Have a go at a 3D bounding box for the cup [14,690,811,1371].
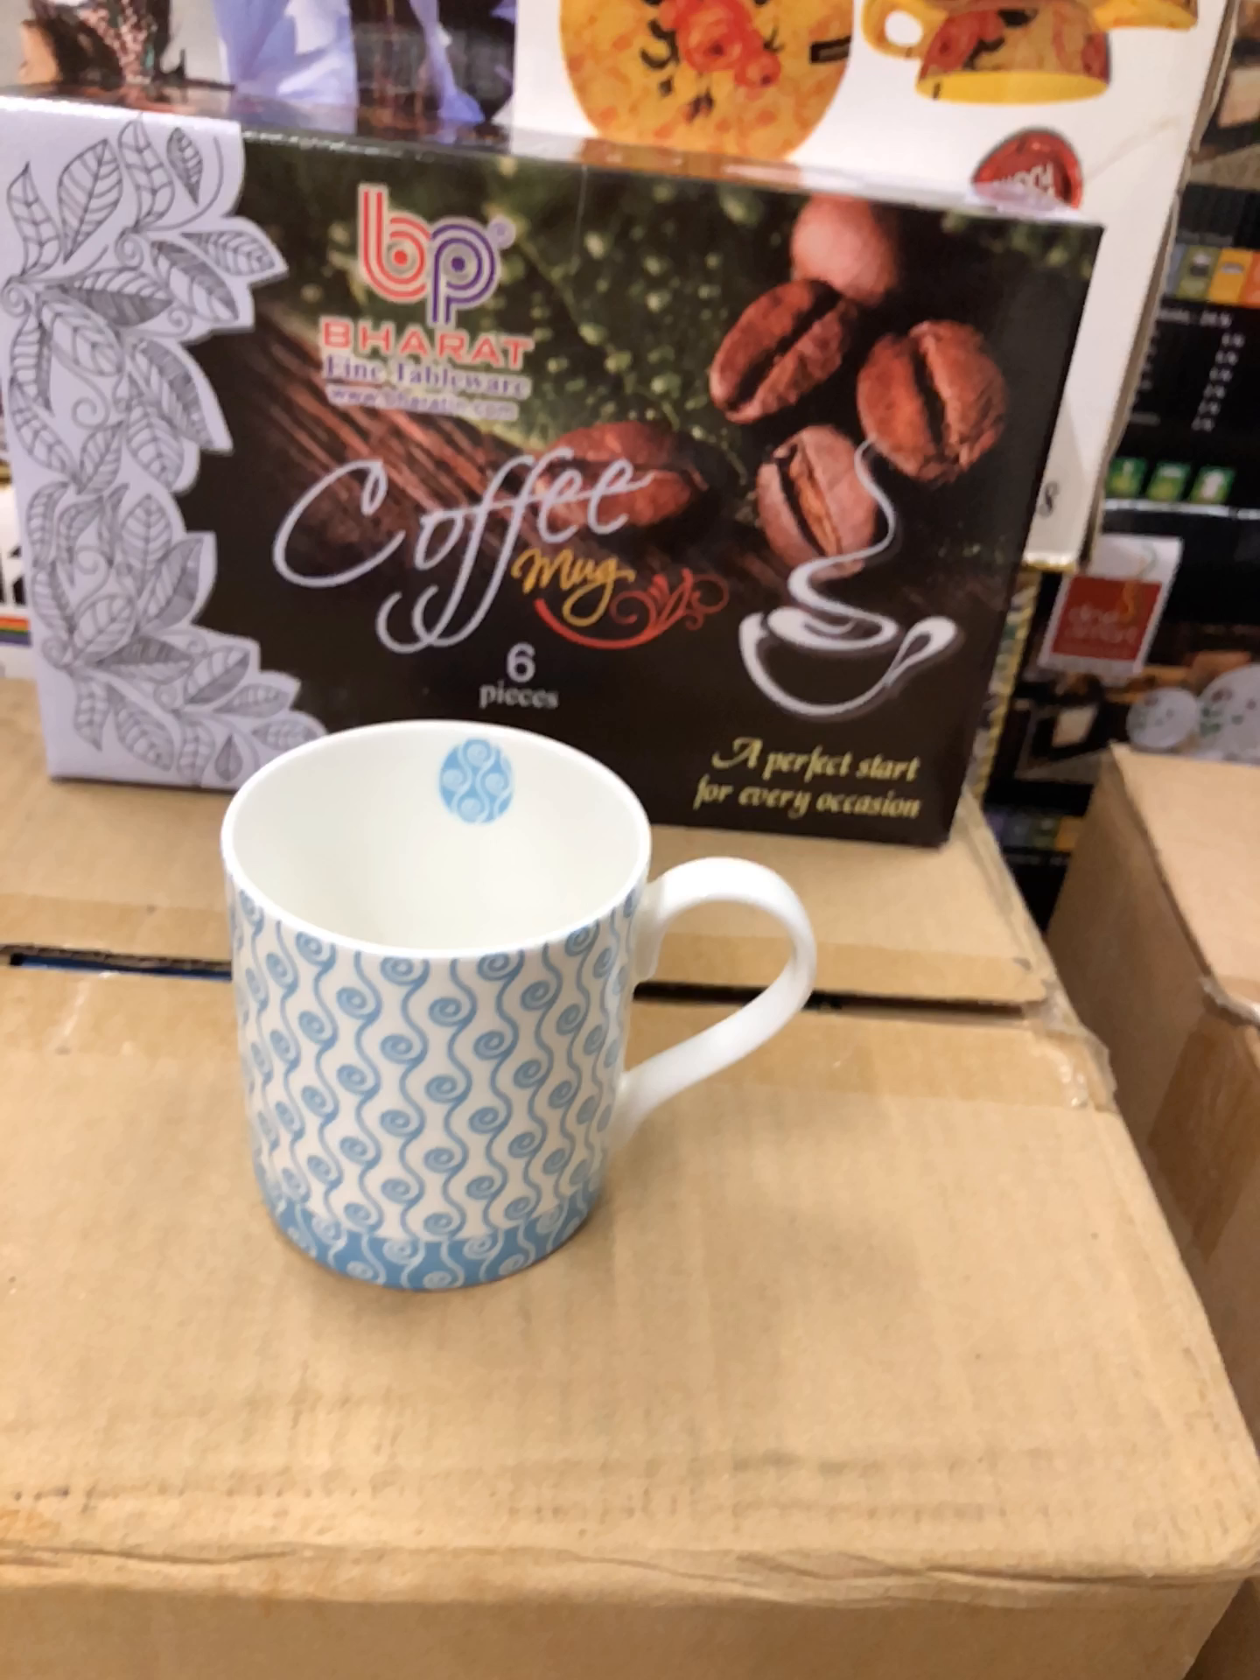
[{"bbox_3d":[-0.035,0.034,0.250,0.110,0.089,0.070,4,35,-5],"label":"cup"}]
